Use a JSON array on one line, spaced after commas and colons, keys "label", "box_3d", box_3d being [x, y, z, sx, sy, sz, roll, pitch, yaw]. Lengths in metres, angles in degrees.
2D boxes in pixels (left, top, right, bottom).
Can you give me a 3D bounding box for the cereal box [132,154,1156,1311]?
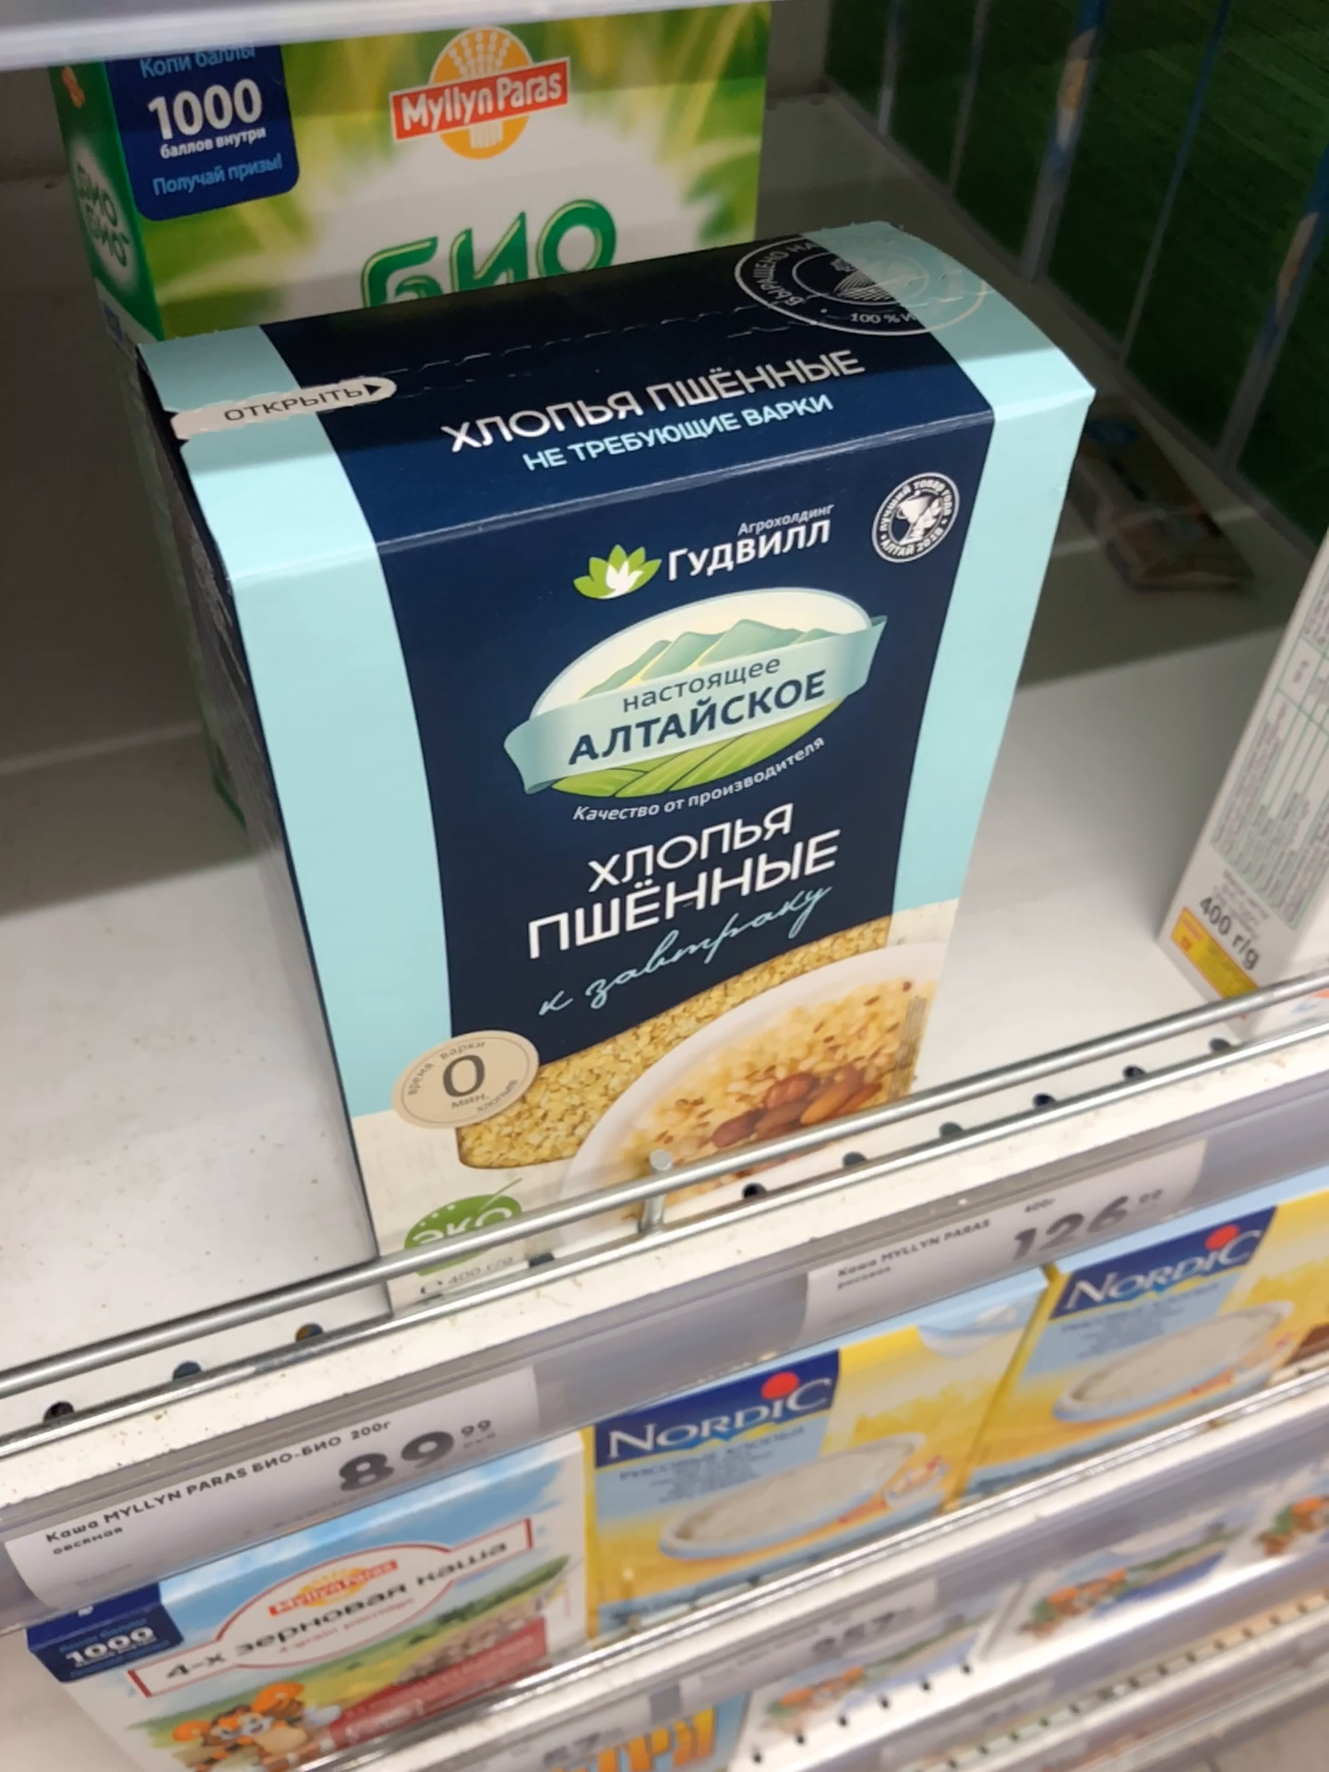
[{"label": "cereal box", "box_3d": [-0.006, -0.015, 0.281, 0.130, 0.199, 0.060, -17, 51, -17]}]
